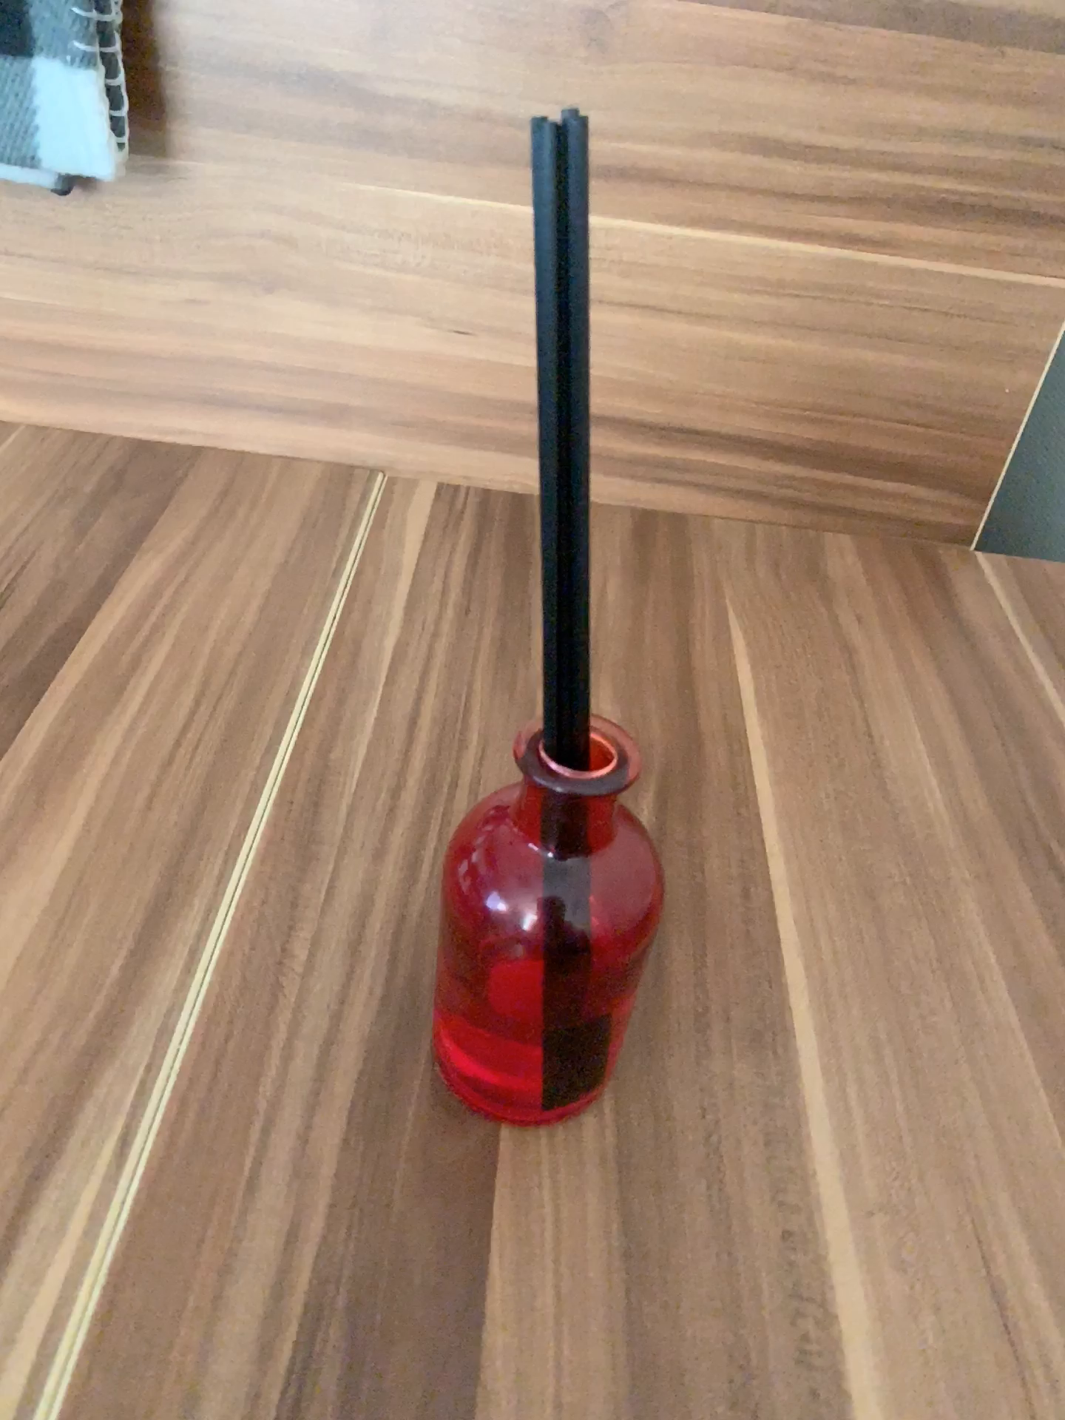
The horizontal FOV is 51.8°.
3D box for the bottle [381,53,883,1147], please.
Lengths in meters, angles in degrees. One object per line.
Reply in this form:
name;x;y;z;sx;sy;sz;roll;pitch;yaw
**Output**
bottle;0.006;0.003;0.238;0.060;0.239;0.050;10;38;2
